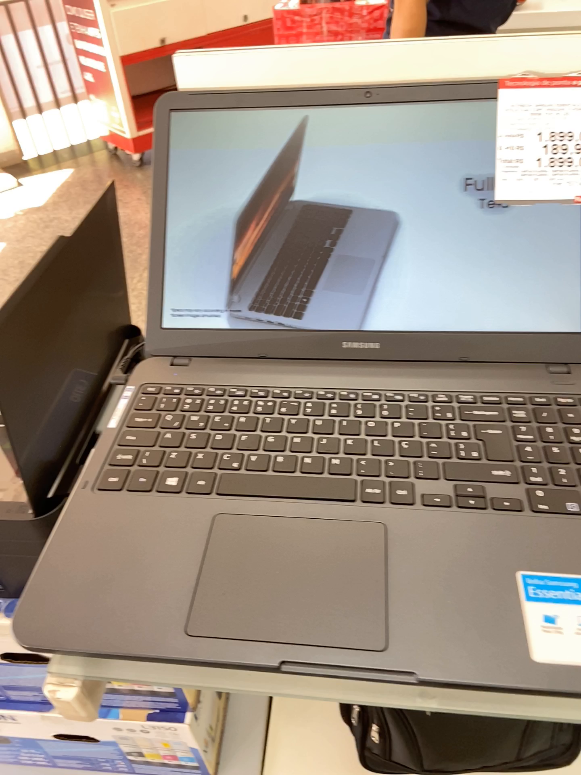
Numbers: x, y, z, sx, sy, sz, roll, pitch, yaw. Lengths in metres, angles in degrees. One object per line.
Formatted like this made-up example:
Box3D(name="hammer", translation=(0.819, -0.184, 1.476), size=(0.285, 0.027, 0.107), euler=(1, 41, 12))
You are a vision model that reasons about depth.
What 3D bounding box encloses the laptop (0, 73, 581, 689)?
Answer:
Box3D(name="laptop", translation=(0.048, -0.058, 0.406), size=(0.367, 0.157, 0.413), euler=(1, 42, 8))
